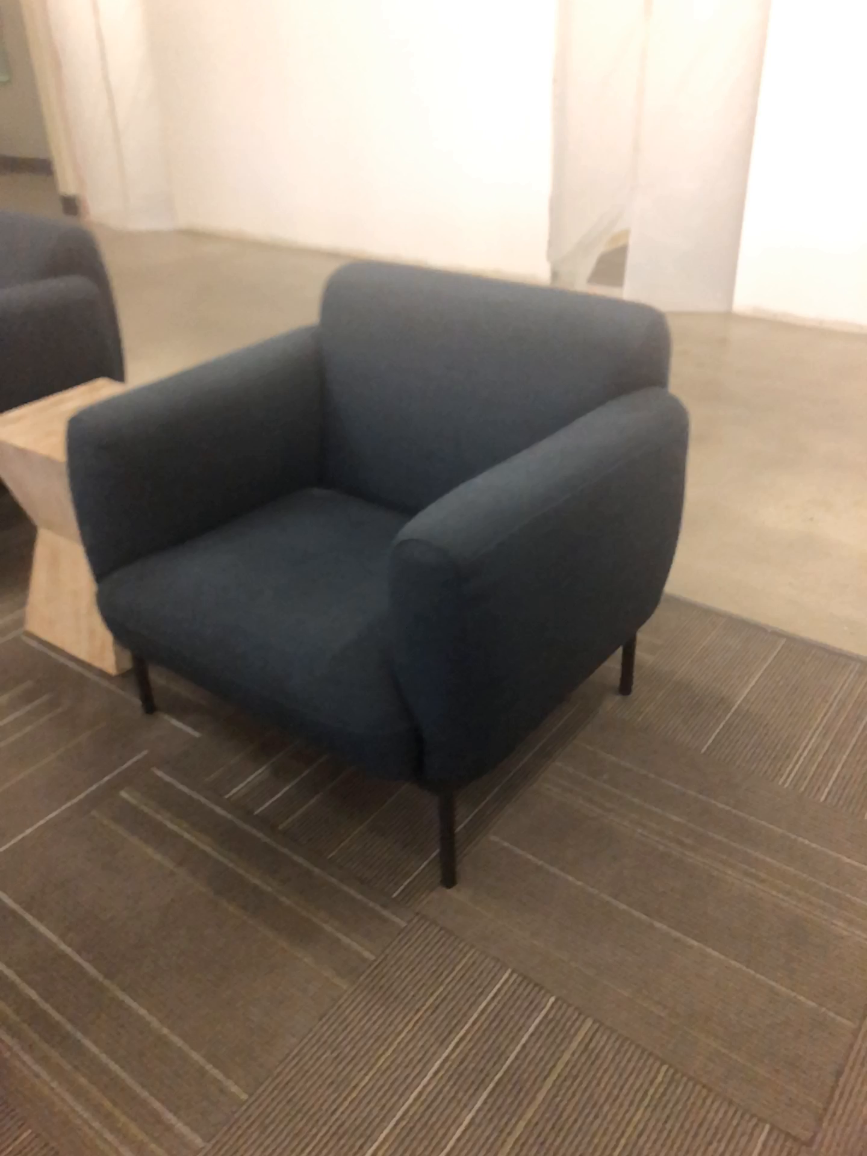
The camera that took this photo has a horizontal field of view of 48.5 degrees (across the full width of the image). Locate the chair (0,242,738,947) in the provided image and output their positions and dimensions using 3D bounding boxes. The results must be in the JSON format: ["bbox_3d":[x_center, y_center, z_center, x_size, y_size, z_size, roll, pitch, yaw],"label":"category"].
[{"bbox_3d":[-0.088,-0.094,1.783,0.921,0.784,0.846,19,36,31],"label":"chair"}]
